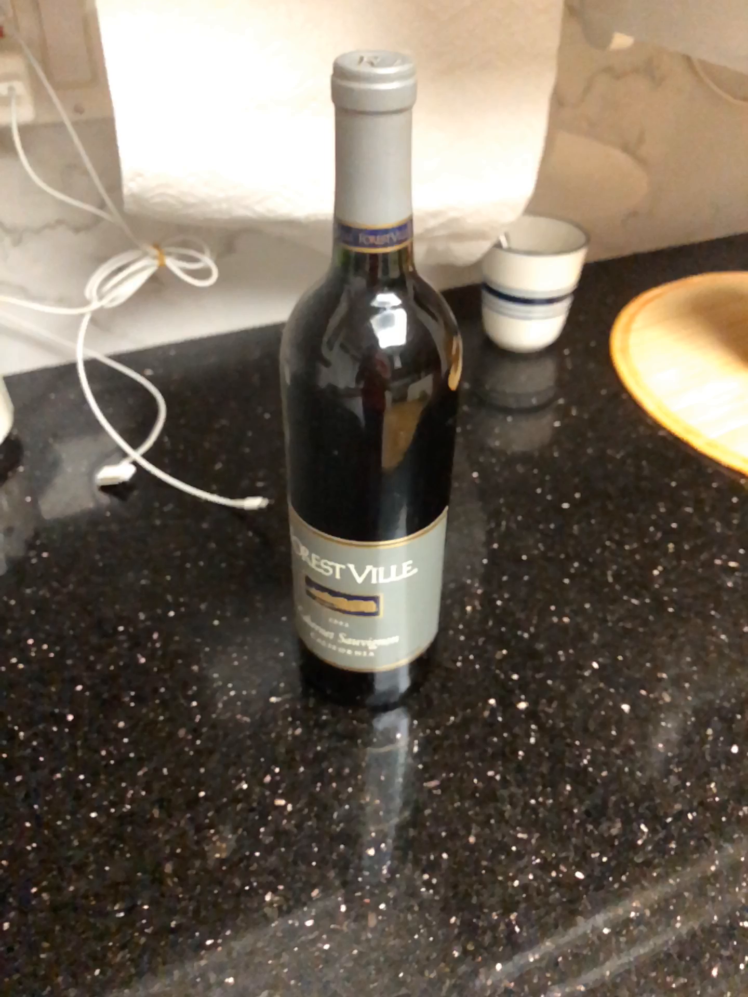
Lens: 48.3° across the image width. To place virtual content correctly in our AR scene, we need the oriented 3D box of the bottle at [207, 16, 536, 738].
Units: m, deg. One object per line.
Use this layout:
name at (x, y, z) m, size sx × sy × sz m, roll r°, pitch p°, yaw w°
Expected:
bottle at (0.001, -0.032, 0.369) m, size 0.080 × 0.298 × 0.090 m, roll 15°, pitch 41°, yaw 16°
